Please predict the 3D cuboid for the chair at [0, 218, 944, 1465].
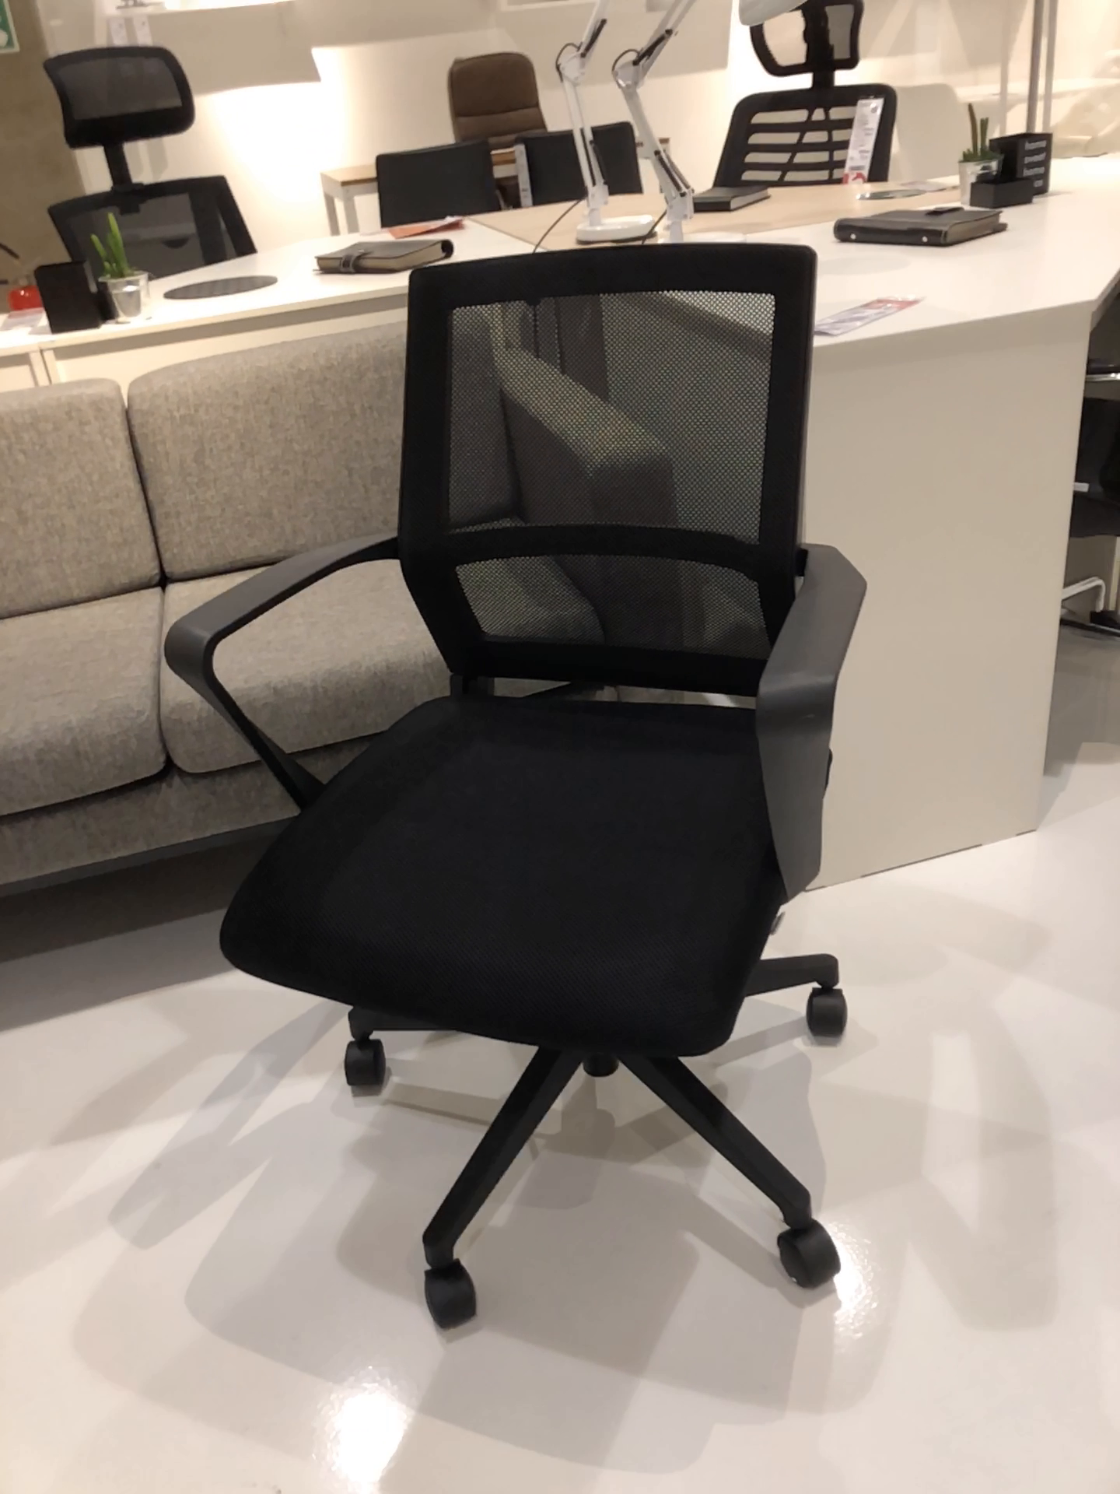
[{"bbox_3d":[-0.024,0.037,1.236,0.680,0.933,0.634,6,31,22],"label":"chair"}]
